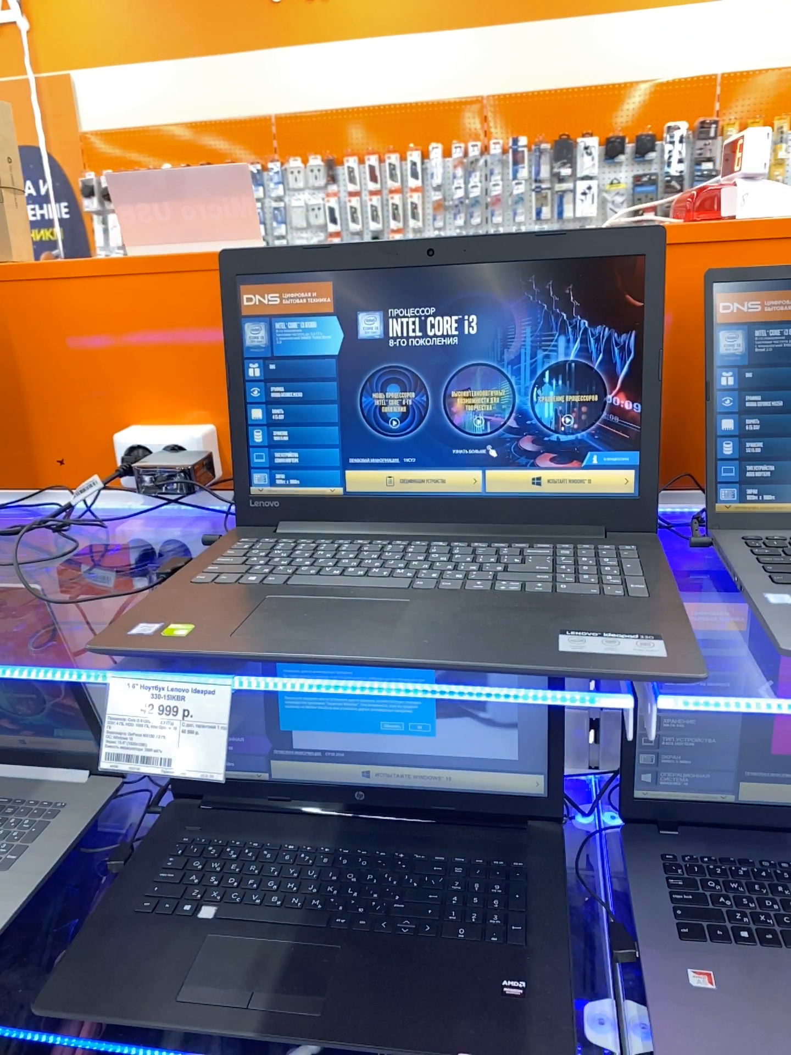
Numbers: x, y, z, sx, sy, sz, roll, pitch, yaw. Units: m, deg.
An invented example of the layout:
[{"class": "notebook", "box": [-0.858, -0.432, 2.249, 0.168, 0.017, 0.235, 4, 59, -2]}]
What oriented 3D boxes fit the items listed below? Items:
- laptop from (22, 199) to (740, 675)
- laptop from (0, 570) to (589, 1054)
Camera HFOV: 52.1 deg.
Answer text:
[{"class": "laptop", "box": [0.008, -0.082, 0.584, 0.377, 0.245, 0.290, 1, 16, 11]}, {"class": "laptop", "box": [-0.061, 0.203, 0.679, 0.400, 0.263, 0.272, 0, 14, 8]}]
